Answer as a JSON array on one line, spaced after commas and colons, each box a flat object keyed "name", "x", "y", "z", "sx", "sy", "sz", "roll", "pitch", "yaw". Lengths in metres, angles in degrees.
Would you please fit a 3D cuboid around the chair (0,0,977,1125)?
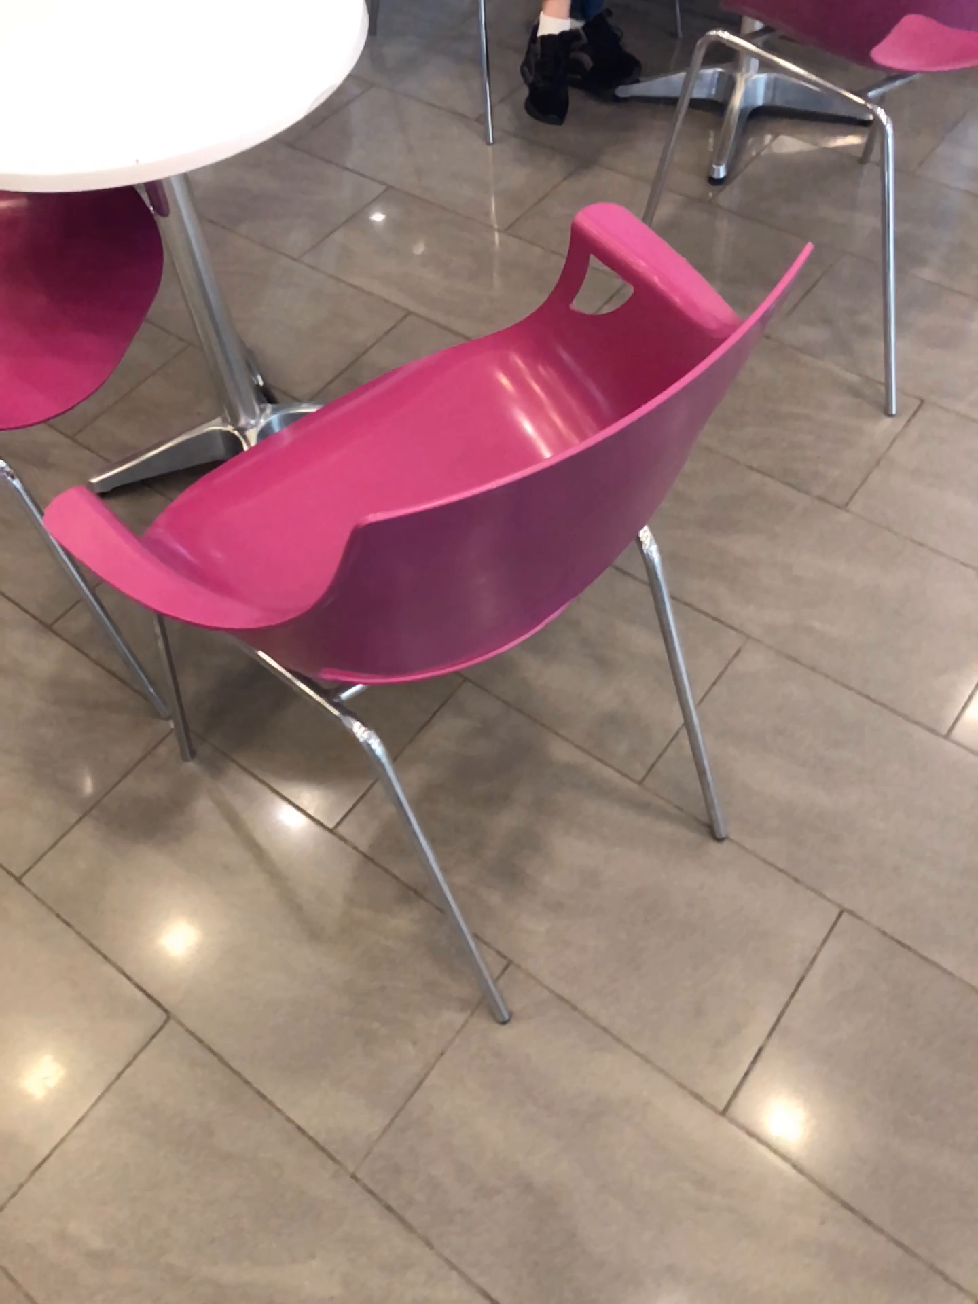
[{"name": "chair", "x": -0.081, "y": -0.065, "z": 1.135, "sx": 0.620, "sy": 0.838, "sz": 0.671, "roll": -35, "pitch": 60, "yaw": -16}]
